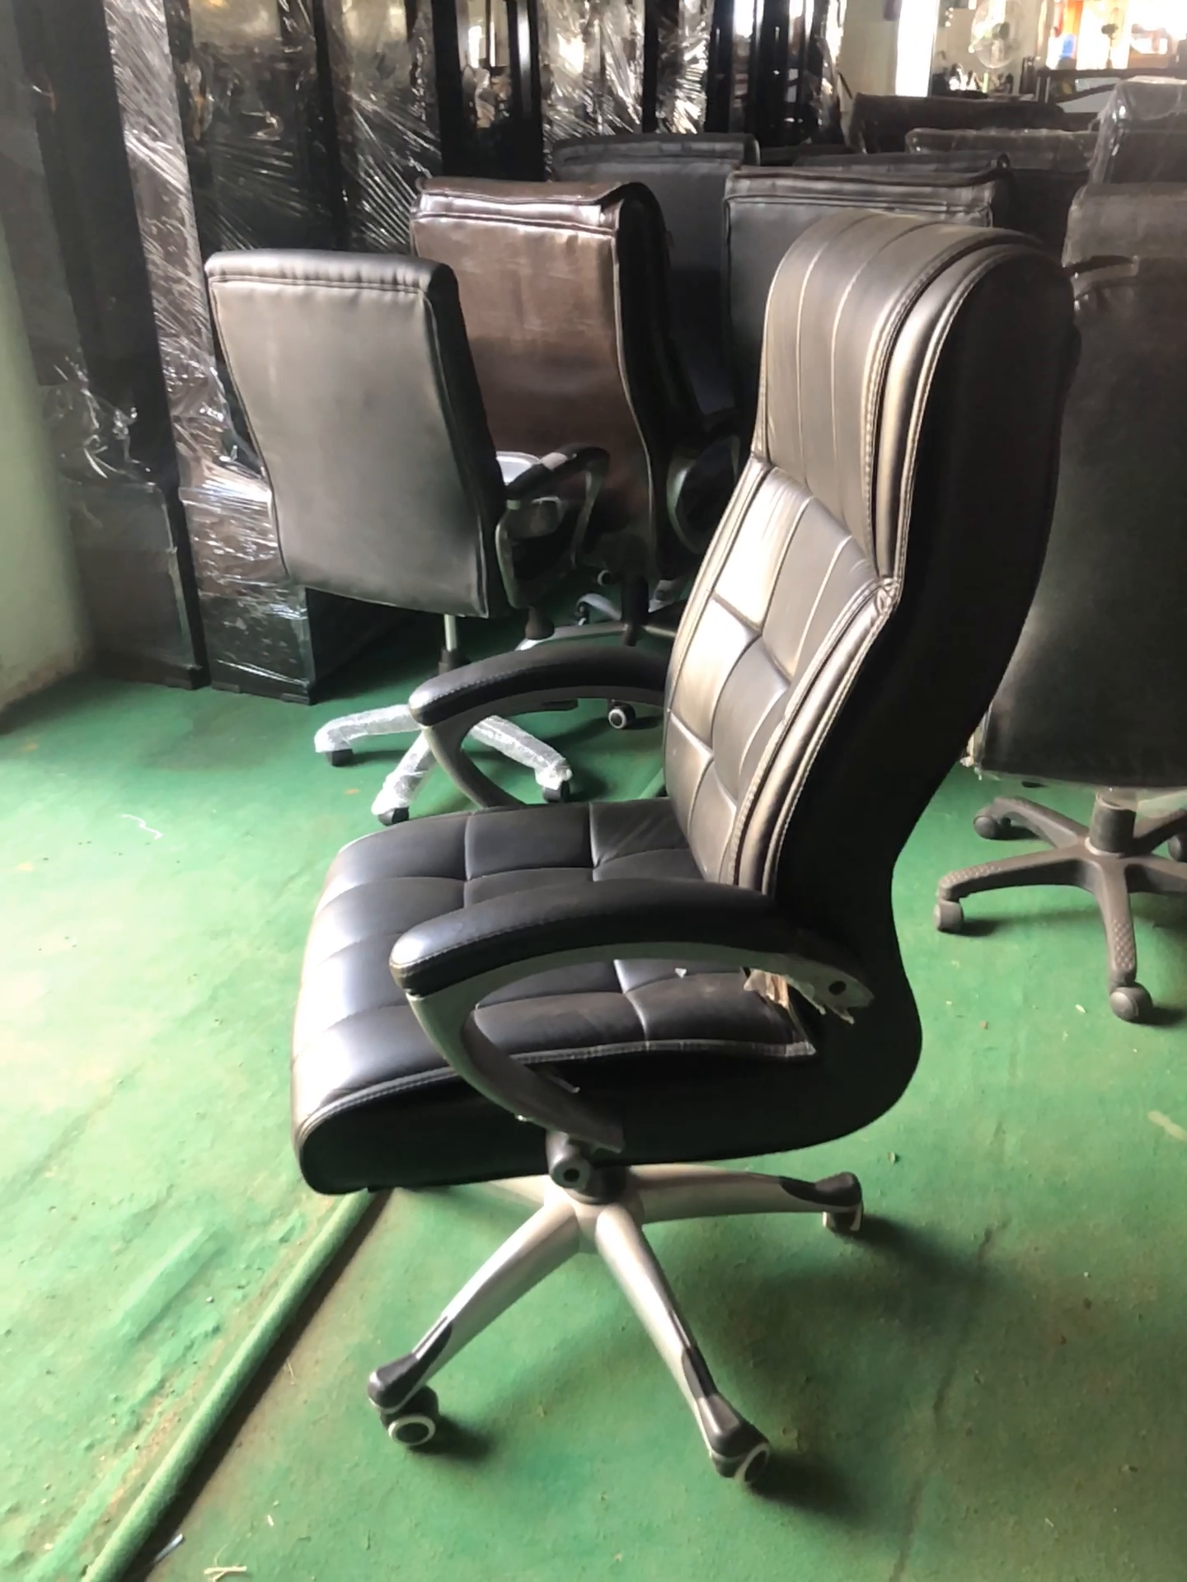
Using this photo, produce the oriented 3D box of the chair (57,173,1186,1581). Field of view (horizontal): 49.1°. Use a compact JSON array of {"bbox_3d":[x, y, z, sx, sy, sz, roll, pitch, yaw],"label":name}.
[{"bbox_3d":[0.073,0.046,1.411,0.830,1.224,0.814,-5,29,-6],"label":"chair"}]
